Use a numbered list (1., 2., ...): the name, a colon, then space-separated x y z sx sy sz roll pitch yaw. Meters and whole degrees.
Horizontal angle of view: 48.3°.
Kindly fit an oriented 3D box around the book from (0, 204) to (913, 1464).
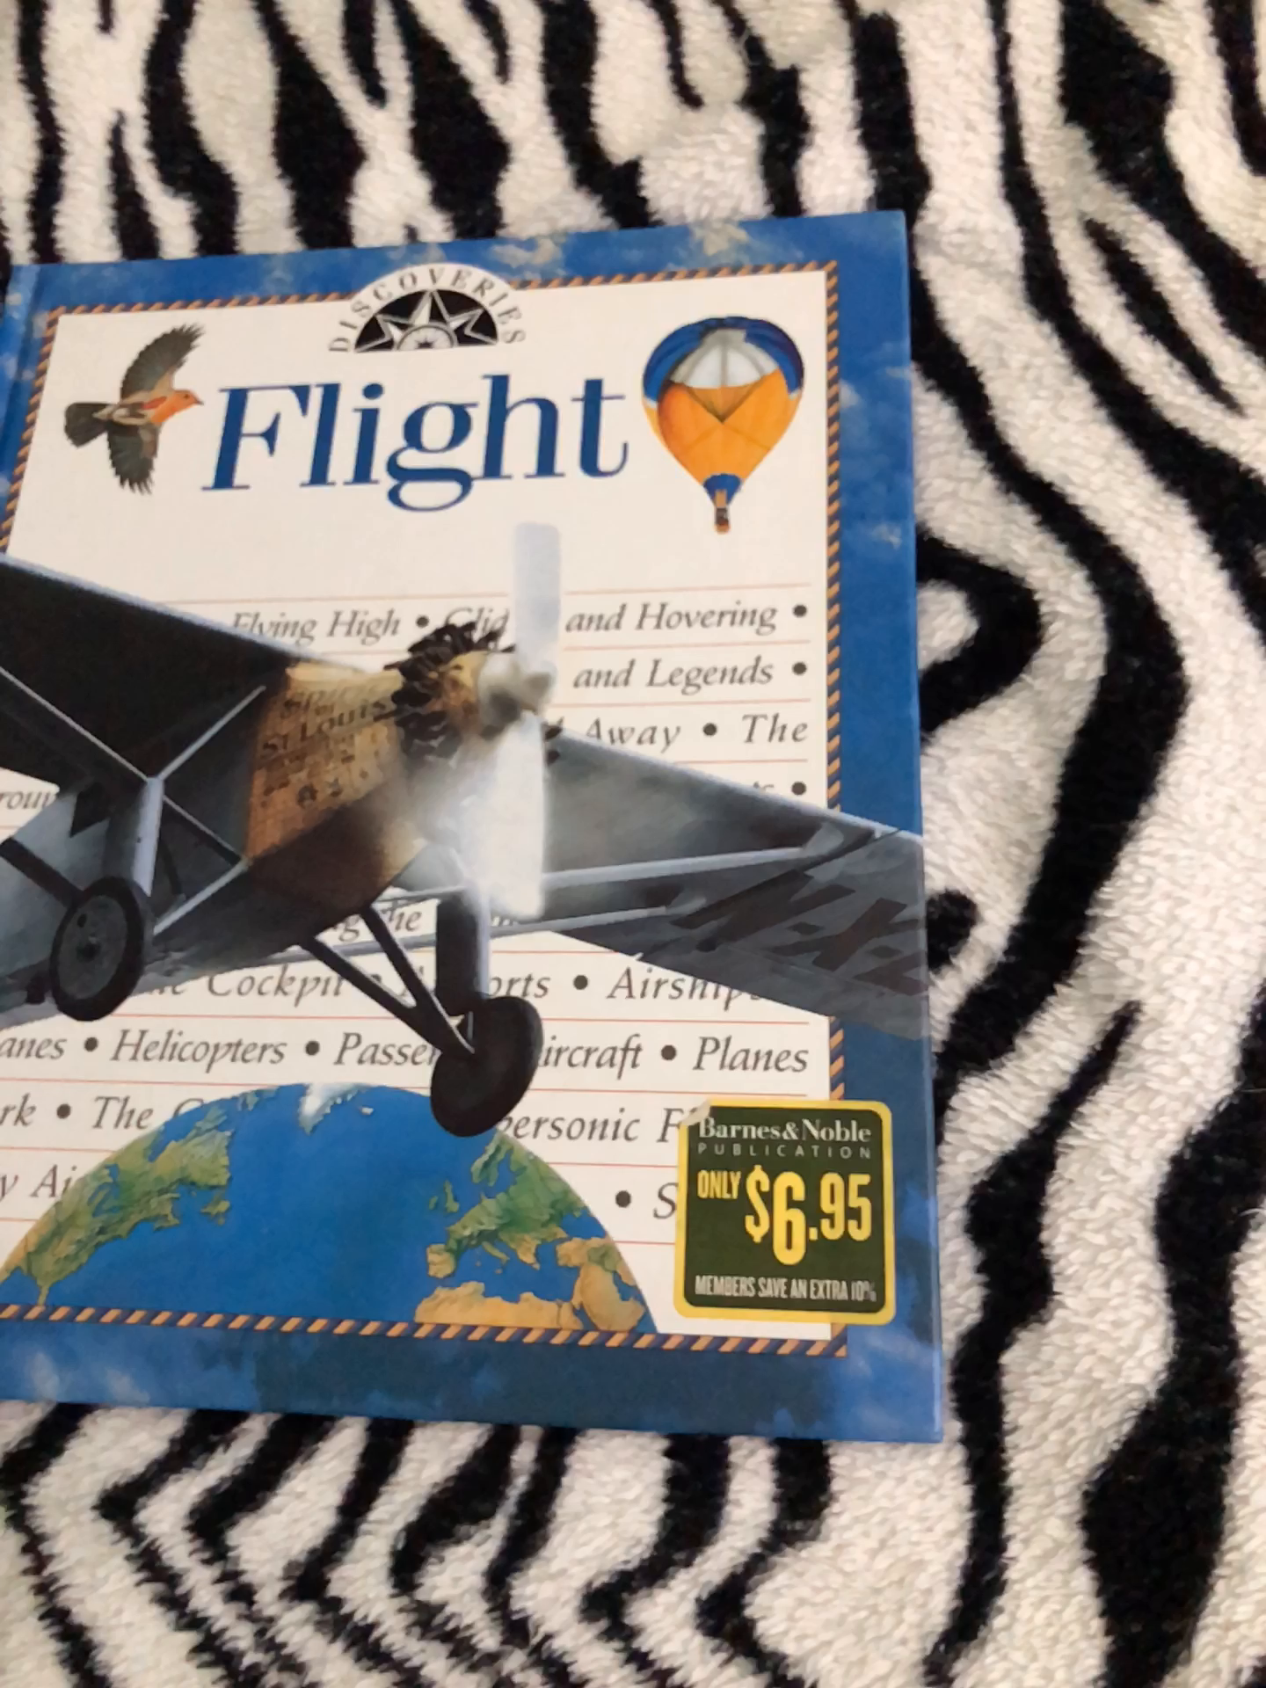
1. book: -0.069 -0.023 0.339 0.258 0.020 0.301 0 69 7
